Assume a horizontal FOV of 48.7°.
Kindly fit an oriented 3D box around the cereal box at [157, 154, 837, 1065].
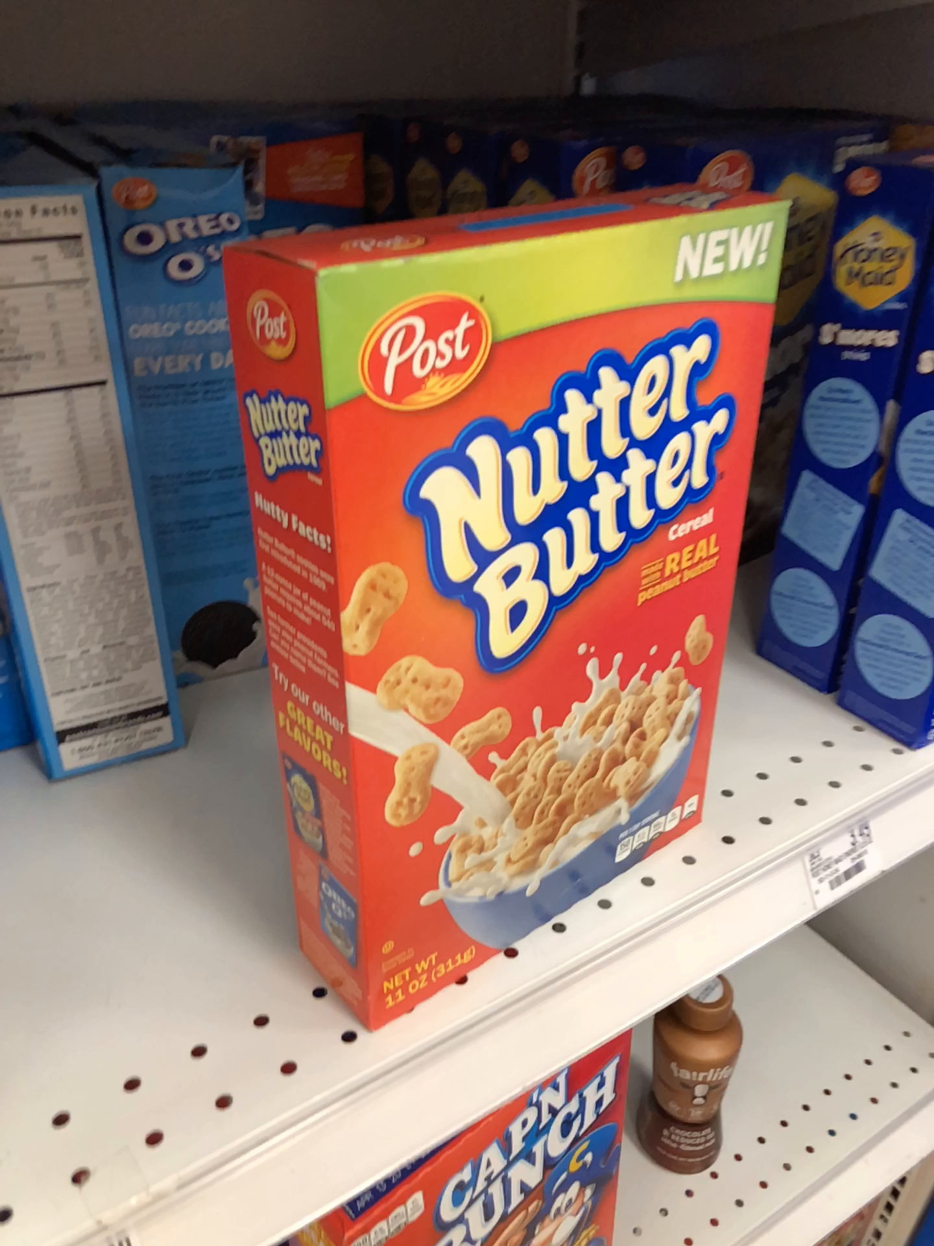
[{"bbox_3d":[0.019,-0.010,0.367,0.200,0.269,0.070,-22,36,-33],"label":"cereal box"}]
